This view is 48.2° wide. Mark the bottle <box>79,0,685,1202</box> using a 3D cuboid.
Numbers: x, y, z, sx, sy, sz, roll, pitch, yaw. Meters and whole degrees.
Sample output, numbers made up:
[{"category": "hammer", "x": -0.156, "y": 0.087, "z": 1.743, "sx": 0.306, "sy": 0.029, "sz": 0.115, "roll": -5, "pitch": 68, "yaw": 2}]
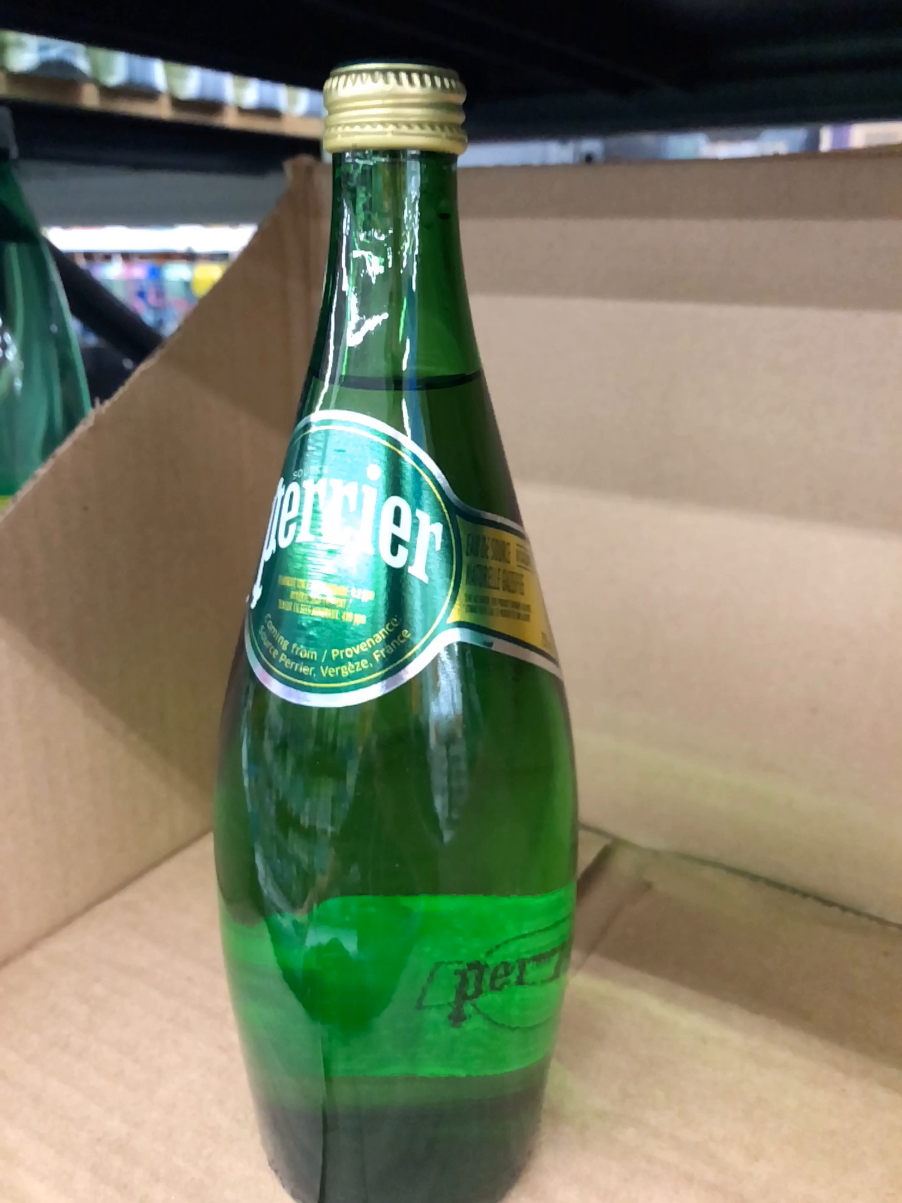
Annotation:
[{"category": "bottle", "x": -0.011, "y": 0.017, "z": 0.242, "sx": 0.090, "sy": 0.268, "sz": 0.080, "roll": 11, "pitch": 21, "yaw": 30}]

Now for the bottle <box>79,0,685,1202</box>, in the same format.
[{"category": "bottle", "x": -0.011, "y": 0.017, "z": 0.242, "sx": 0.090, "sy": 0.268, "sz": 0.080, "roll": 11, "pitch": 21, "yaw": 30}]
